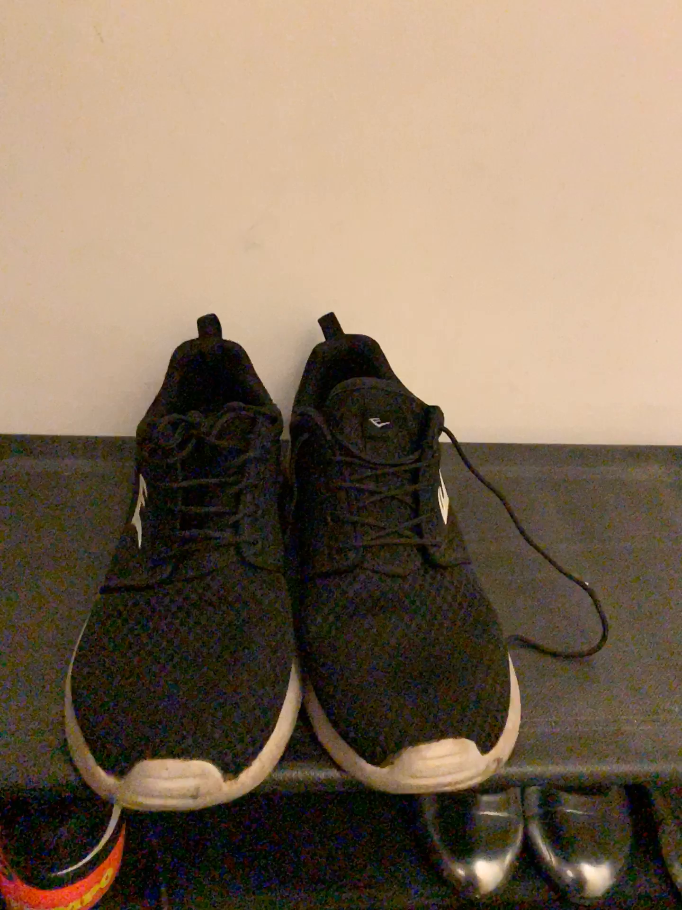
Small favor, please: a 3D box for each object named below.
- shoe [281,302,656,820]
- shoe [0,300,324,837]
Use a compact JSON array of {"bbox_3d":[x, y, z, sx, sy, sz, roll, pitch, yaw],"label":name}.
[{"bbox_3d":[0.031,0.021,0.386,0.120,0.099,0.303,0,33,-6],"label":"shoe"},{"bbox_3d":[-0.073,0.022,0.373,0.110,0.099,0.303,1,33,-5],"label":"shoe"}]
